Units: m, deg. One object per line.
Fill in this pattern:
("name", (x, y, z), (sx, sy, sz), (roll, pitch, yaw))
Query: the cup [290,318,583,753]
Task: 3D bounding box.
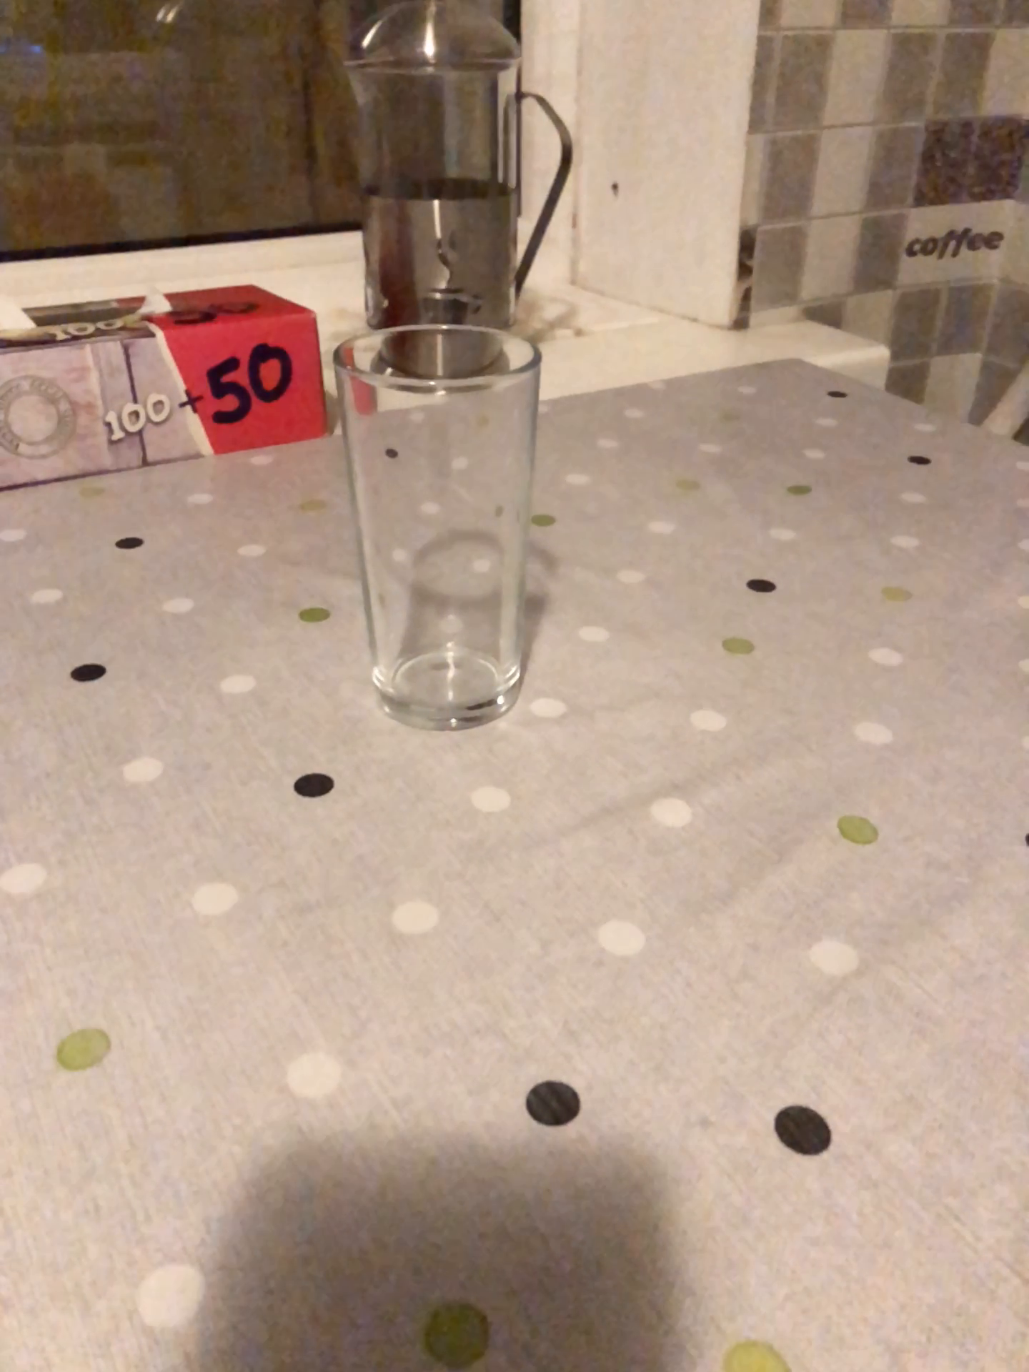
("cup", (-0.026, -0.053, 0.382), (0.068, 0.117, 0.069), (0, 31, 0))
